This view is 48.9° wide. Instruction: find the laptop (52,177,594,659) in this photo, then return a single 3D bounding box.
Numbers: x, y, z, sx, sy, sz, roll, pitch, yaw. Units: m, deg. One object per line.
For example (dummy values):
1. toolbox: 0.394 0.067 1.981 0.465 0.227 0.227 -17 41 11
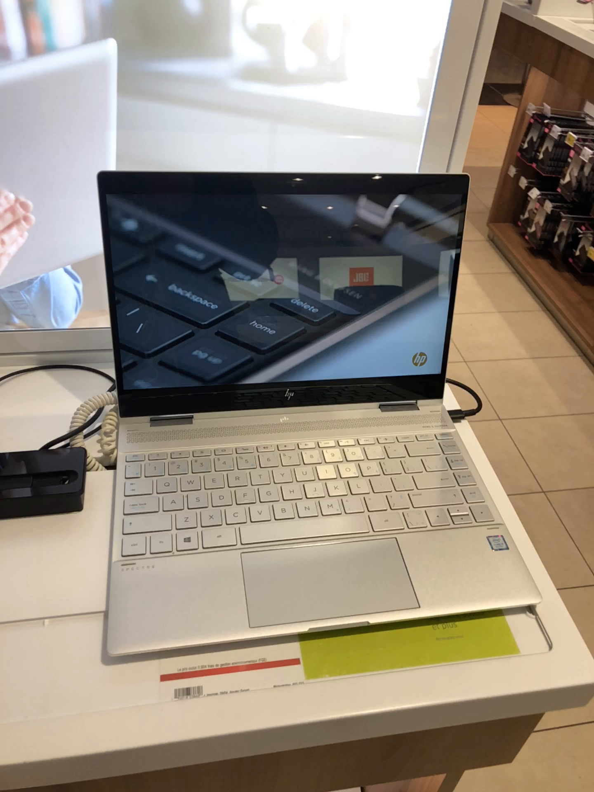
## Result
1. laptop: 0.010 -0.010 0.482 0.299 0.193 0.283 -3 40 -10
